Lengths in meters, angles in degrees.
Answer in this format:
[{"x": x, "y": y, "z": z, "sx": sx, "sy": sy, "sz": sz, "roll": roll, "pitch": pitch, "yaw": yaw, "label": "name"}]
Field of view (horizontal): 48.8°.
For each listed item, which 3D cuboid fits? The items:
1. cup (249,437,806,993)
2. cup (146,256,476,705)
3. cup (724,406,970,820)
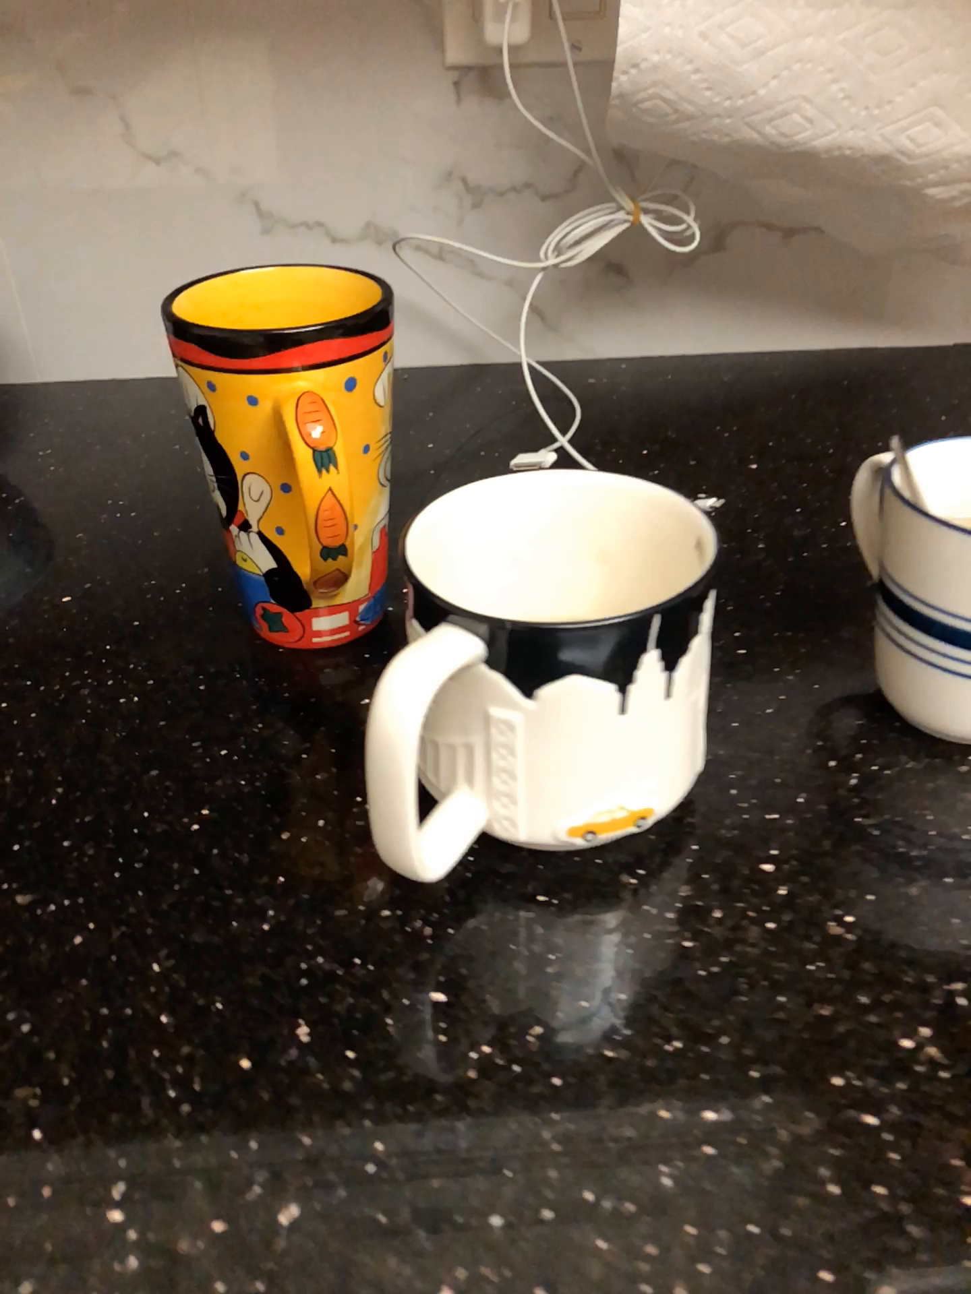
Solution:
[{"x": 0.017, "y": 0.011, "z": 0.363, "sx": 0.110, "sy": 0.099, "sz": 0.140, "roll": 26, "pitch": 42, "yaw": 34, "label": "cup"}, {"x": -0.072, "y": -0.075, "z": 0.442, "sx": 0.090, "sy": 0.129, "sz": 0.131, "roll": -14, "pitch": 36, "yaw": -19, "label": "cup"}, {"x": 0.183, "y": -0.023, "z": 0.412, "sx": 0.100, "sy": 0.080, "sz": 0.141, "roll": -22, "pitch": 39, "yaw": -28, "label": "cup"}]
